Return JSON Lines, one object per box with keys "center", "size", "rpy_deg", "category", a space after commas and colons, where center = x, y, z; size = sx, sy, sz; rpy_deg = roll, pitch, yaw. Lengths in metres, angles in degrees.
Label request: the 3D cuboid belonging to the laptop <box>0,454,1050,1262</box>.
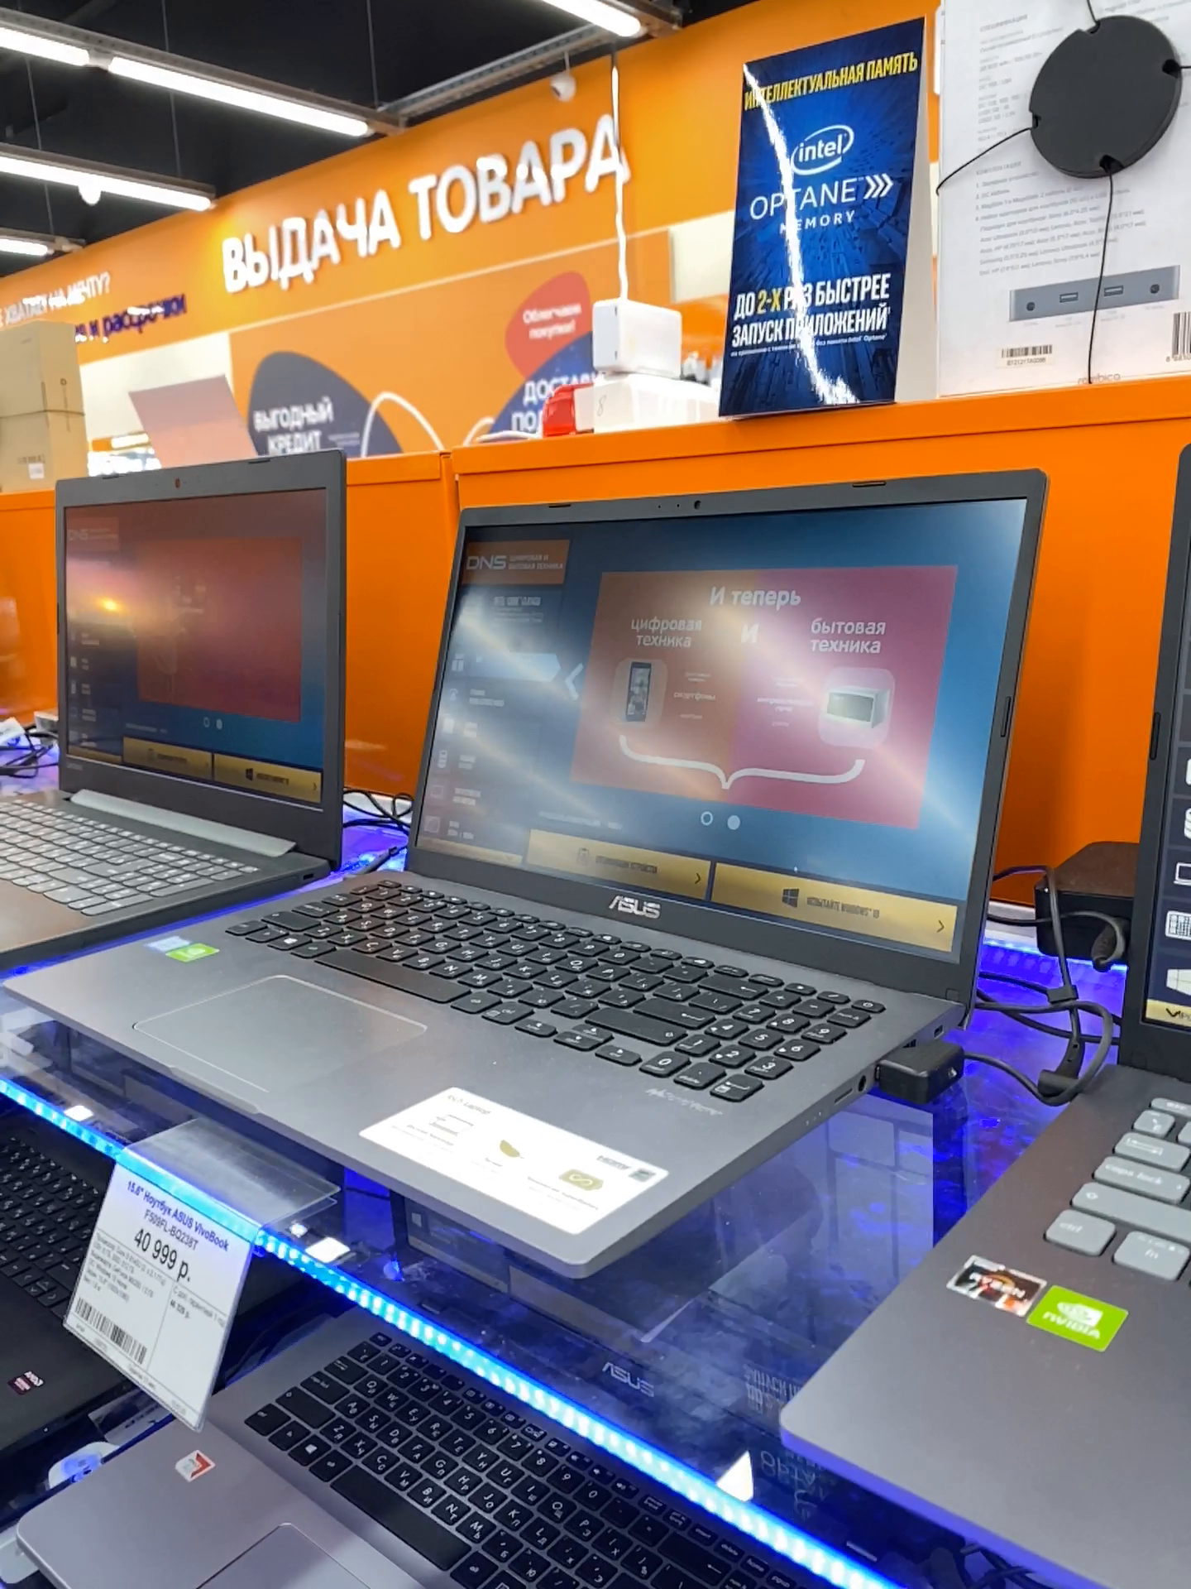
{"center": [-0.041, -0.025, 0.537], "size": [0.358, 0.211, 0.306], "rpy_deg": [8, 15, 41], "category": "laptop"}
